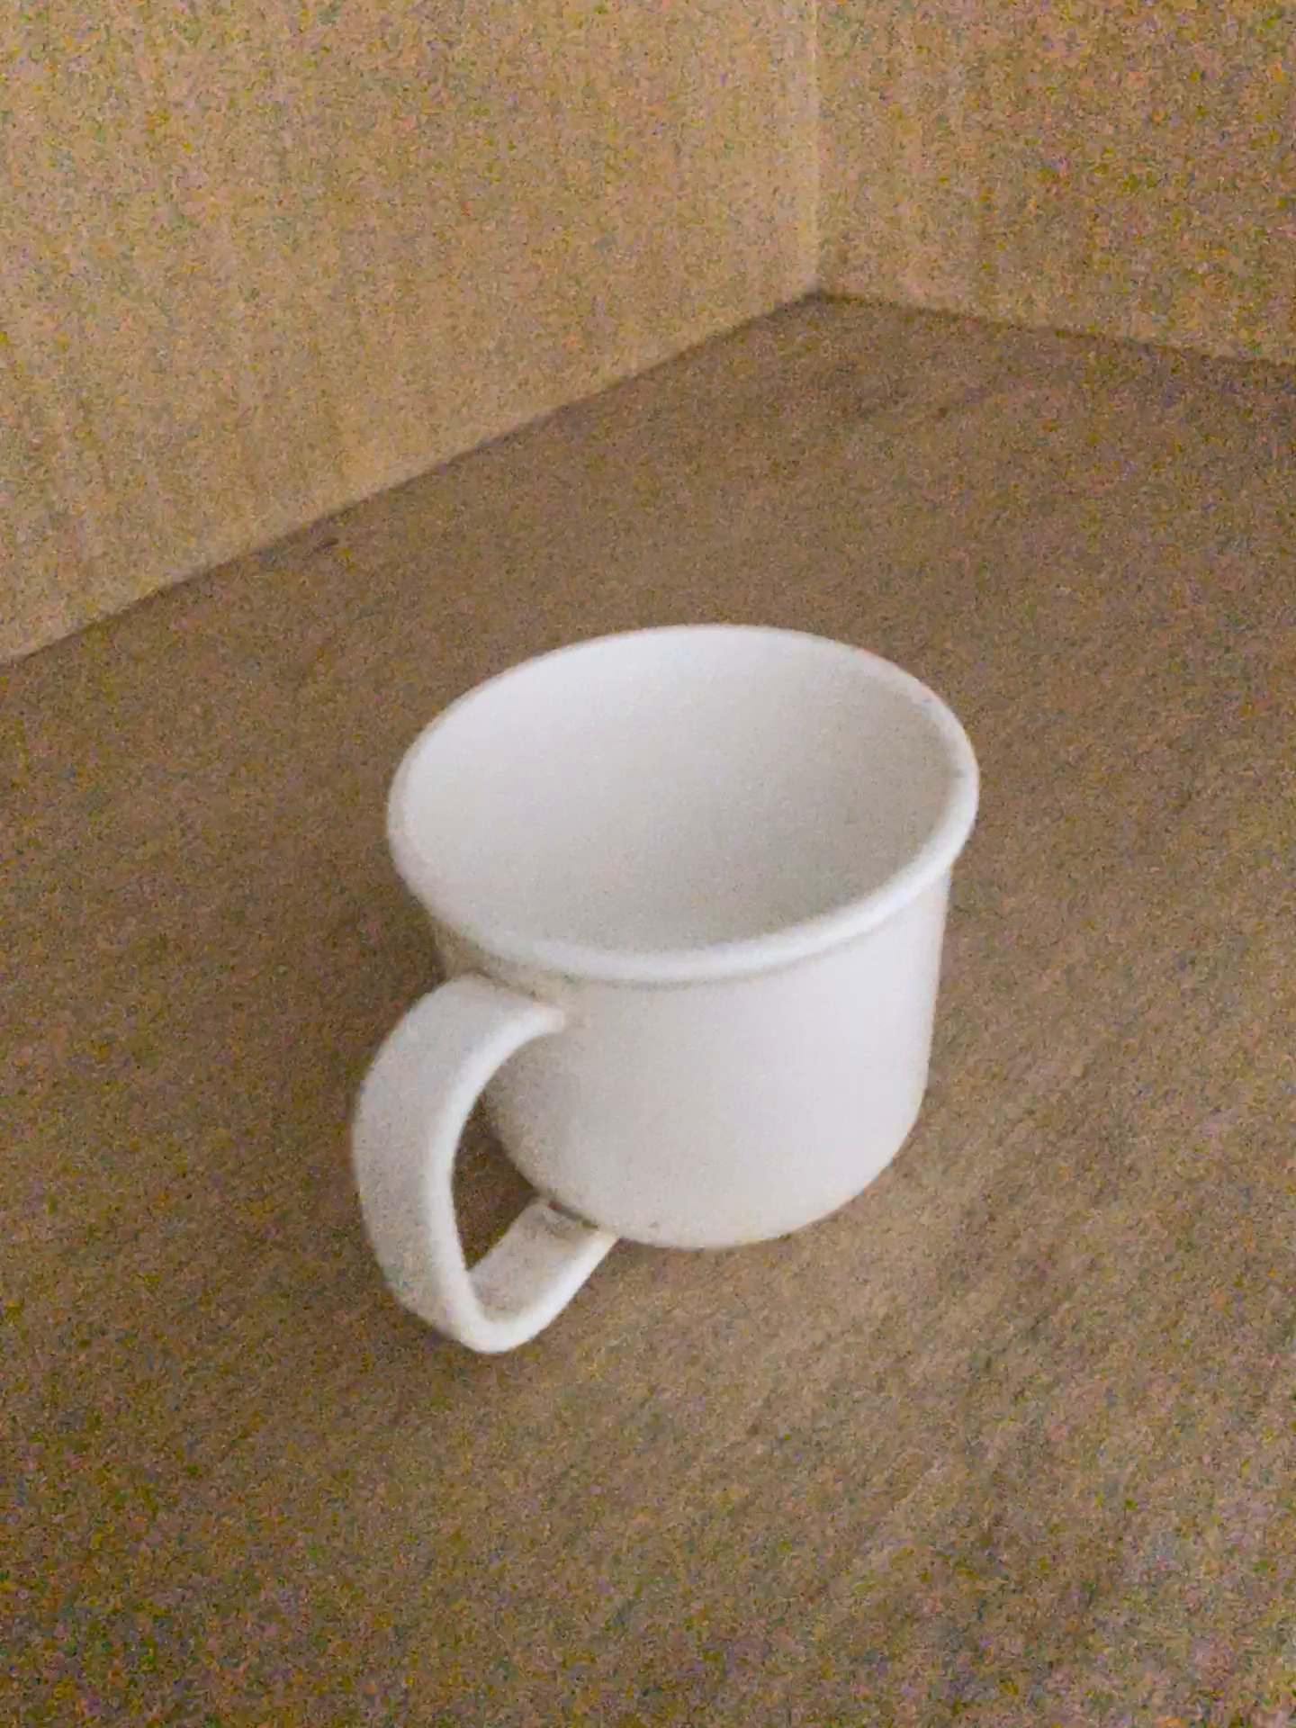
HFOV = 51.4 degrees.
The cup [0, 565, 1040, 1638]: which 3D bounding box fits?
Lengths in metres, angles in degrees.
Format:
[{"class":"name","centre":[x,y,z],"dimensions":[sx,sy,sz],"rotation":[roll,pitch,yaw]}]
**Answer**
[{"class":"cup","centre":[-0.007,0.020,0.188],"dimensions":[0.080,0.069,0.111],"rotation":[18,44,28]}]
